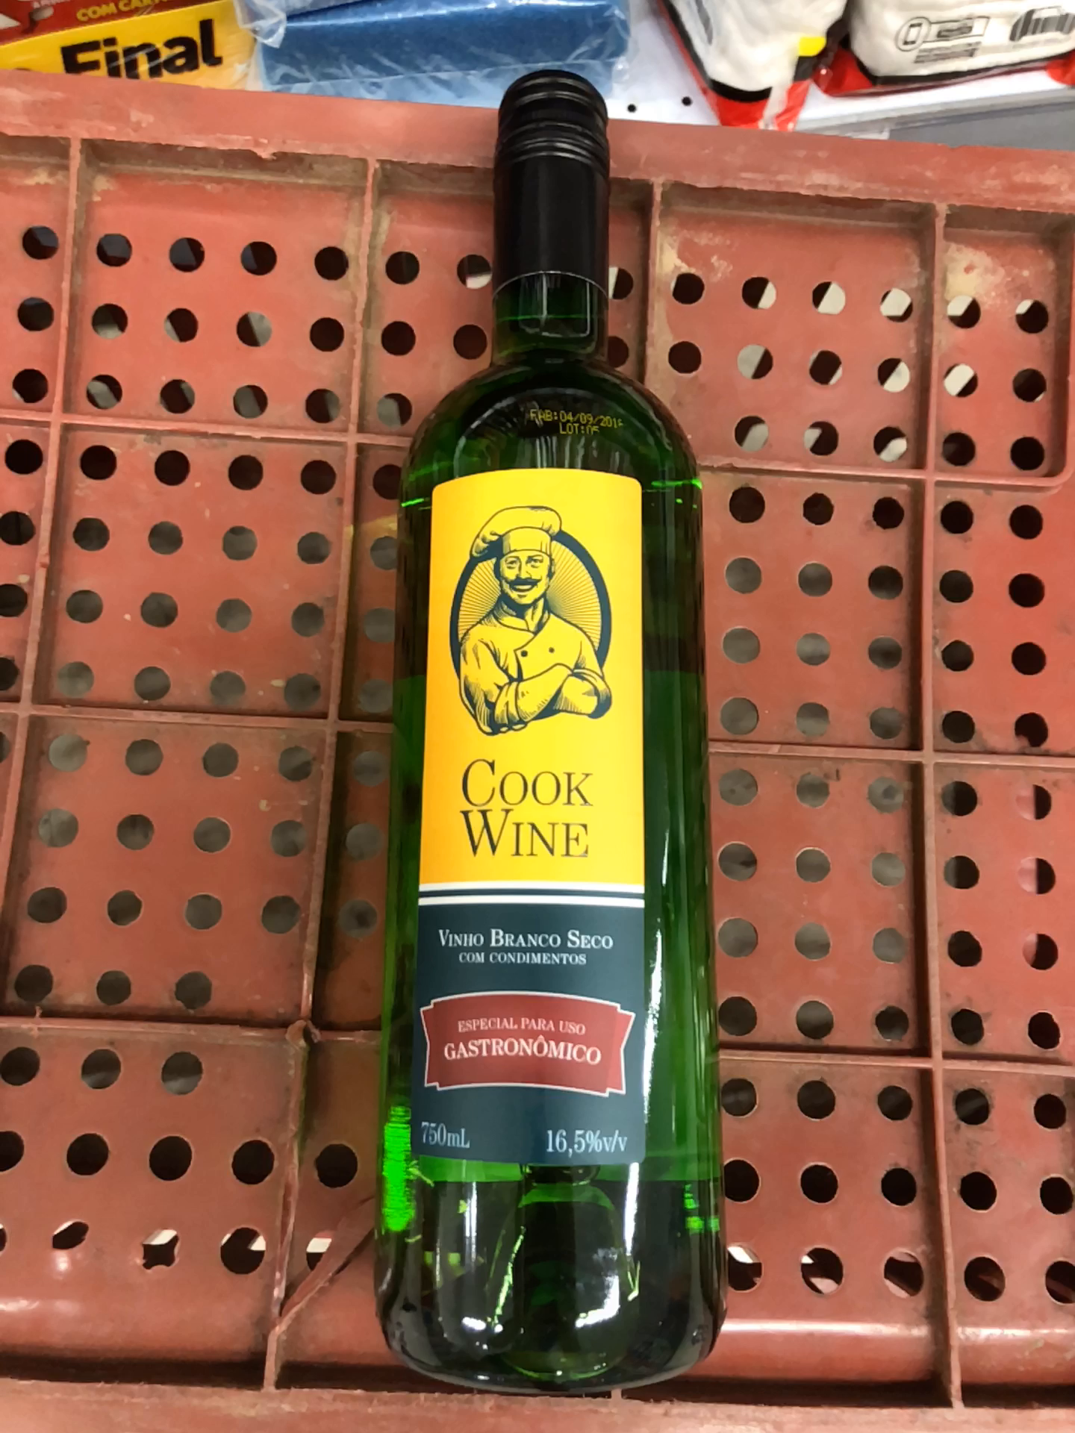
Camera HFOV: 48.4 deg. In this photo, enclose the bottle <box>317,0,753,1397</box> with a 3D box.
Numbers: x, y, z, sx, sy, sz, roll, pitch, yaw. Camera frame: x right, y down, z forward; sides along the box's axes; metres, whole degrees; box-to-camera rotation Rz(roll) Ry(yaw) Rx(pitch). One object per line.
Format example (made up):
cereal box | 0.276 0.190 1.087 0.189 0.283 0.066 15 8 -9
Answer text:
bottle | 0.004 -0.030 0.277 0.080 0.060 0.320 -1 79 8
